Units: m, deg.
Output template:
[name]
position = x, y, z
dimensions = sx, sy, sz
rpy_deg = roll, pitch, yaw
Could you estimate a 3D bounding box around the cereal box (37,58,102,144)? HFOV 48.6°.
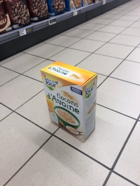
[cereal box]
position = 0.002, 0.023, 0.457
dimensions = 0.160, 0.209, 0.070
rpy_deg = 22, 44, 33
